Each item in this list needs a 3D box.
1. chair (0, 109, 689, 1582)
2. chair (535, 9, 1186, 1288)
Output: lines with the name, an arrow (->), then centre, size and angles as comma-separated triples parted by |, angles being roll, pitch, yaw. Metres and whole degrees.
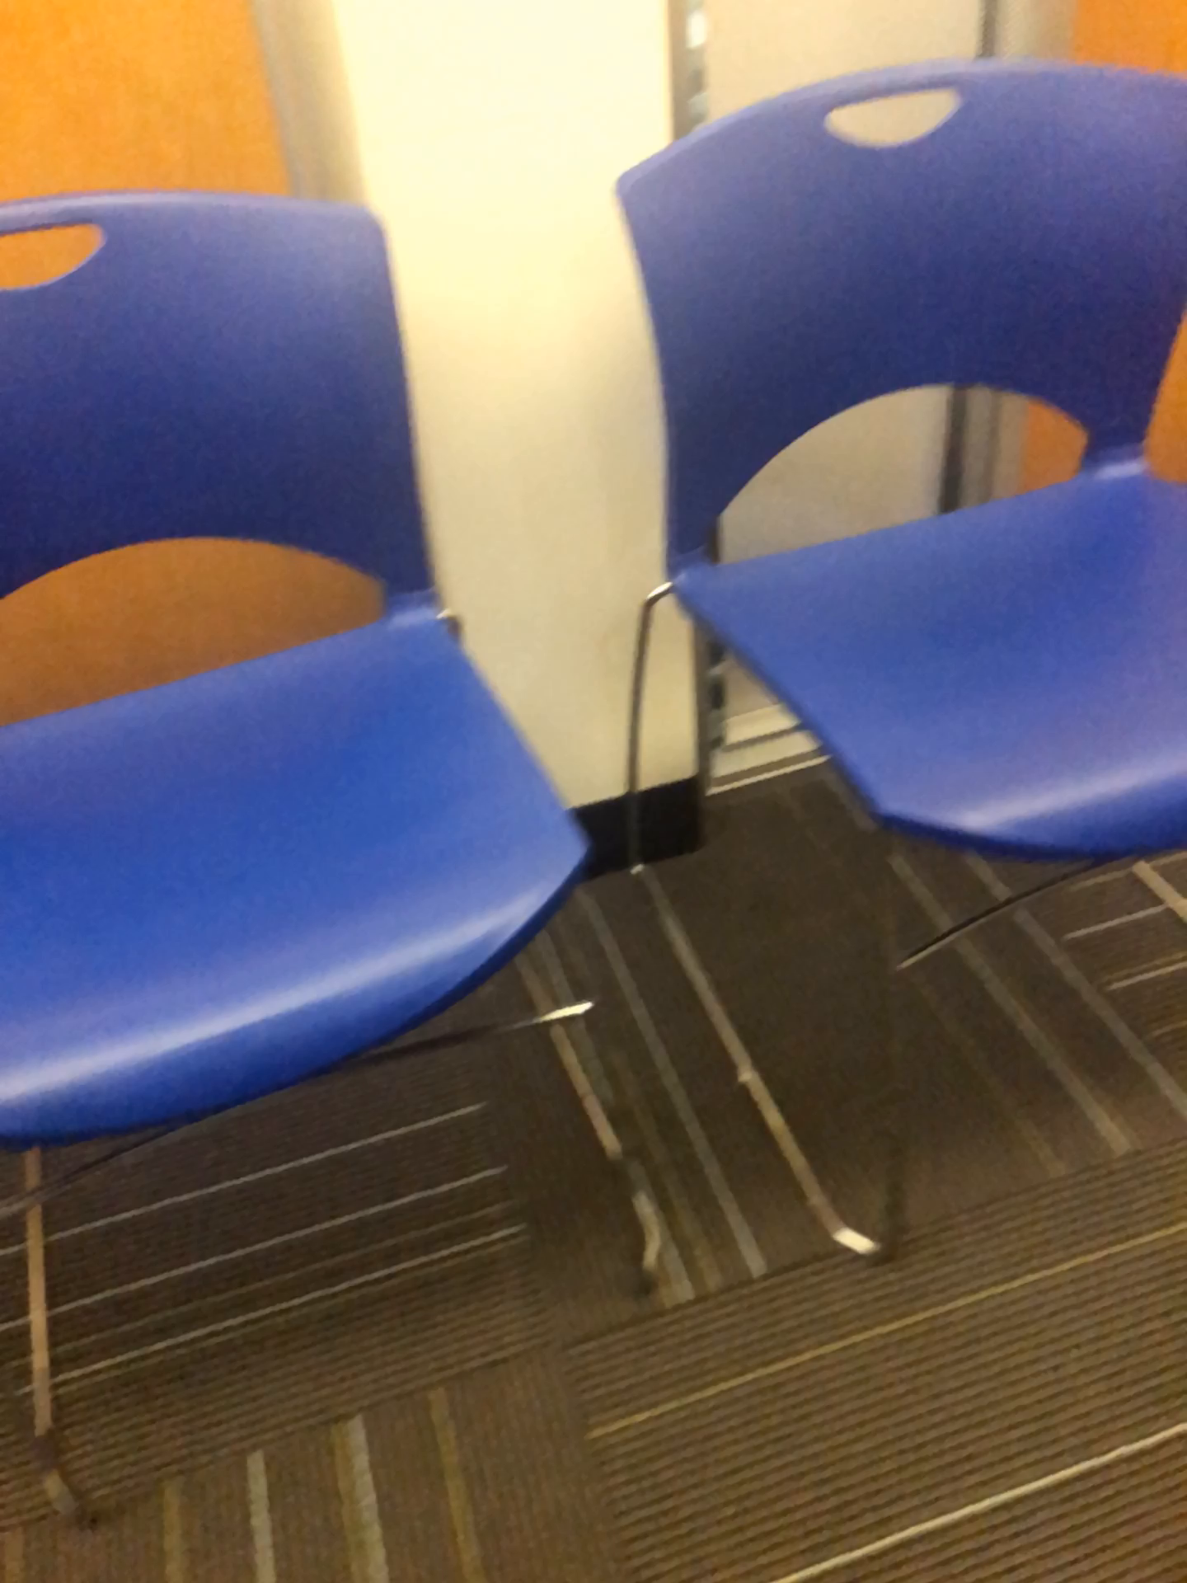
chair -> -0.303, 0.017, 1.027 | 0.521, 0.853, 0.634 | -15, 37, -13
chair -> 0.331, -0.150, 1.088 | 0.541, 0.773, 0.594 | -14, 37, -12
